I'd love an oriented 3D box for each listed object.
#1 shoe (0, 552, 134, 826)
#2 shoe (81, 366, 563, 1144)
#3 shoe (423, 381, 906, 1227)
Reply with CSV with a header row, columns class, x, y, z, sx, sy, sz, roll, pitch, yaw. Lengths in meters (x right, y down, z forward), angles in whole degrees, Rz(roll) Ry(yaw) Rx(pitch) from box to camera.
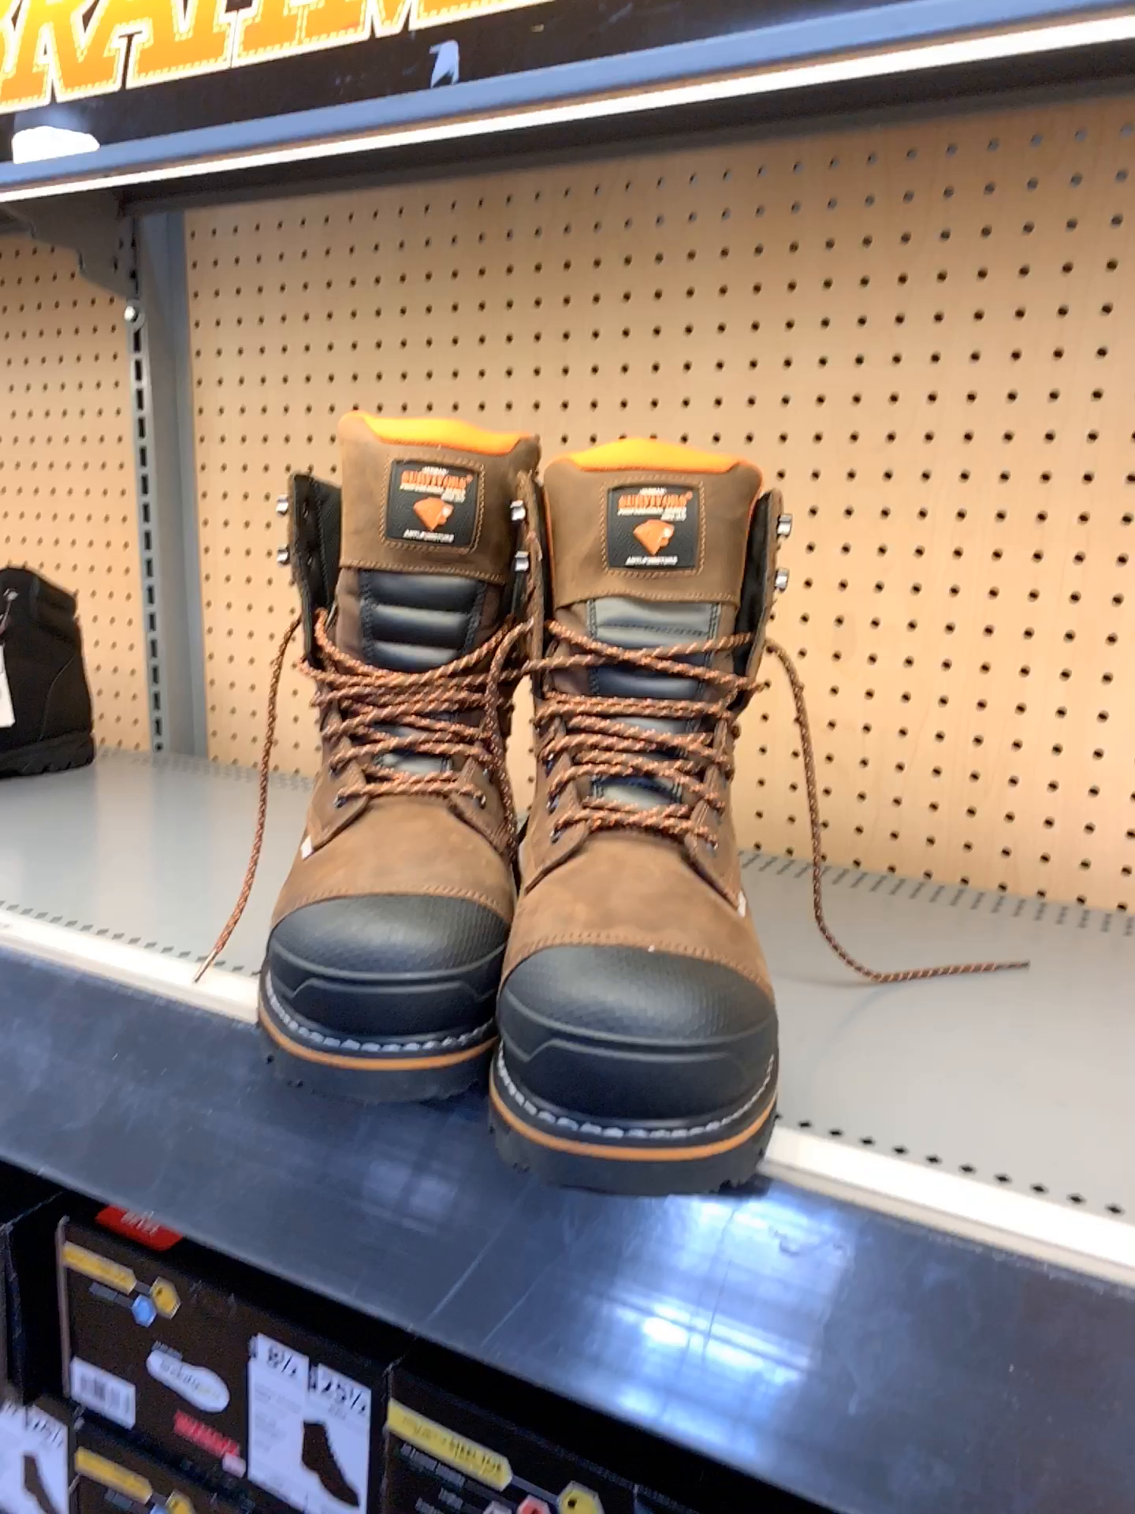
class,x,y,z,sx,sy,sz,roll,pitch,yaw
shoe,-0.505,-0.069,0.923,0.146,0.170,0.258,8,15,28
shoe,-0.086,-0.028,0.567,0.136,0.280,0.314,2,13,4
shoe,0.032,-0.013,0.506,0.134,0.260,0.319,2,13,3
